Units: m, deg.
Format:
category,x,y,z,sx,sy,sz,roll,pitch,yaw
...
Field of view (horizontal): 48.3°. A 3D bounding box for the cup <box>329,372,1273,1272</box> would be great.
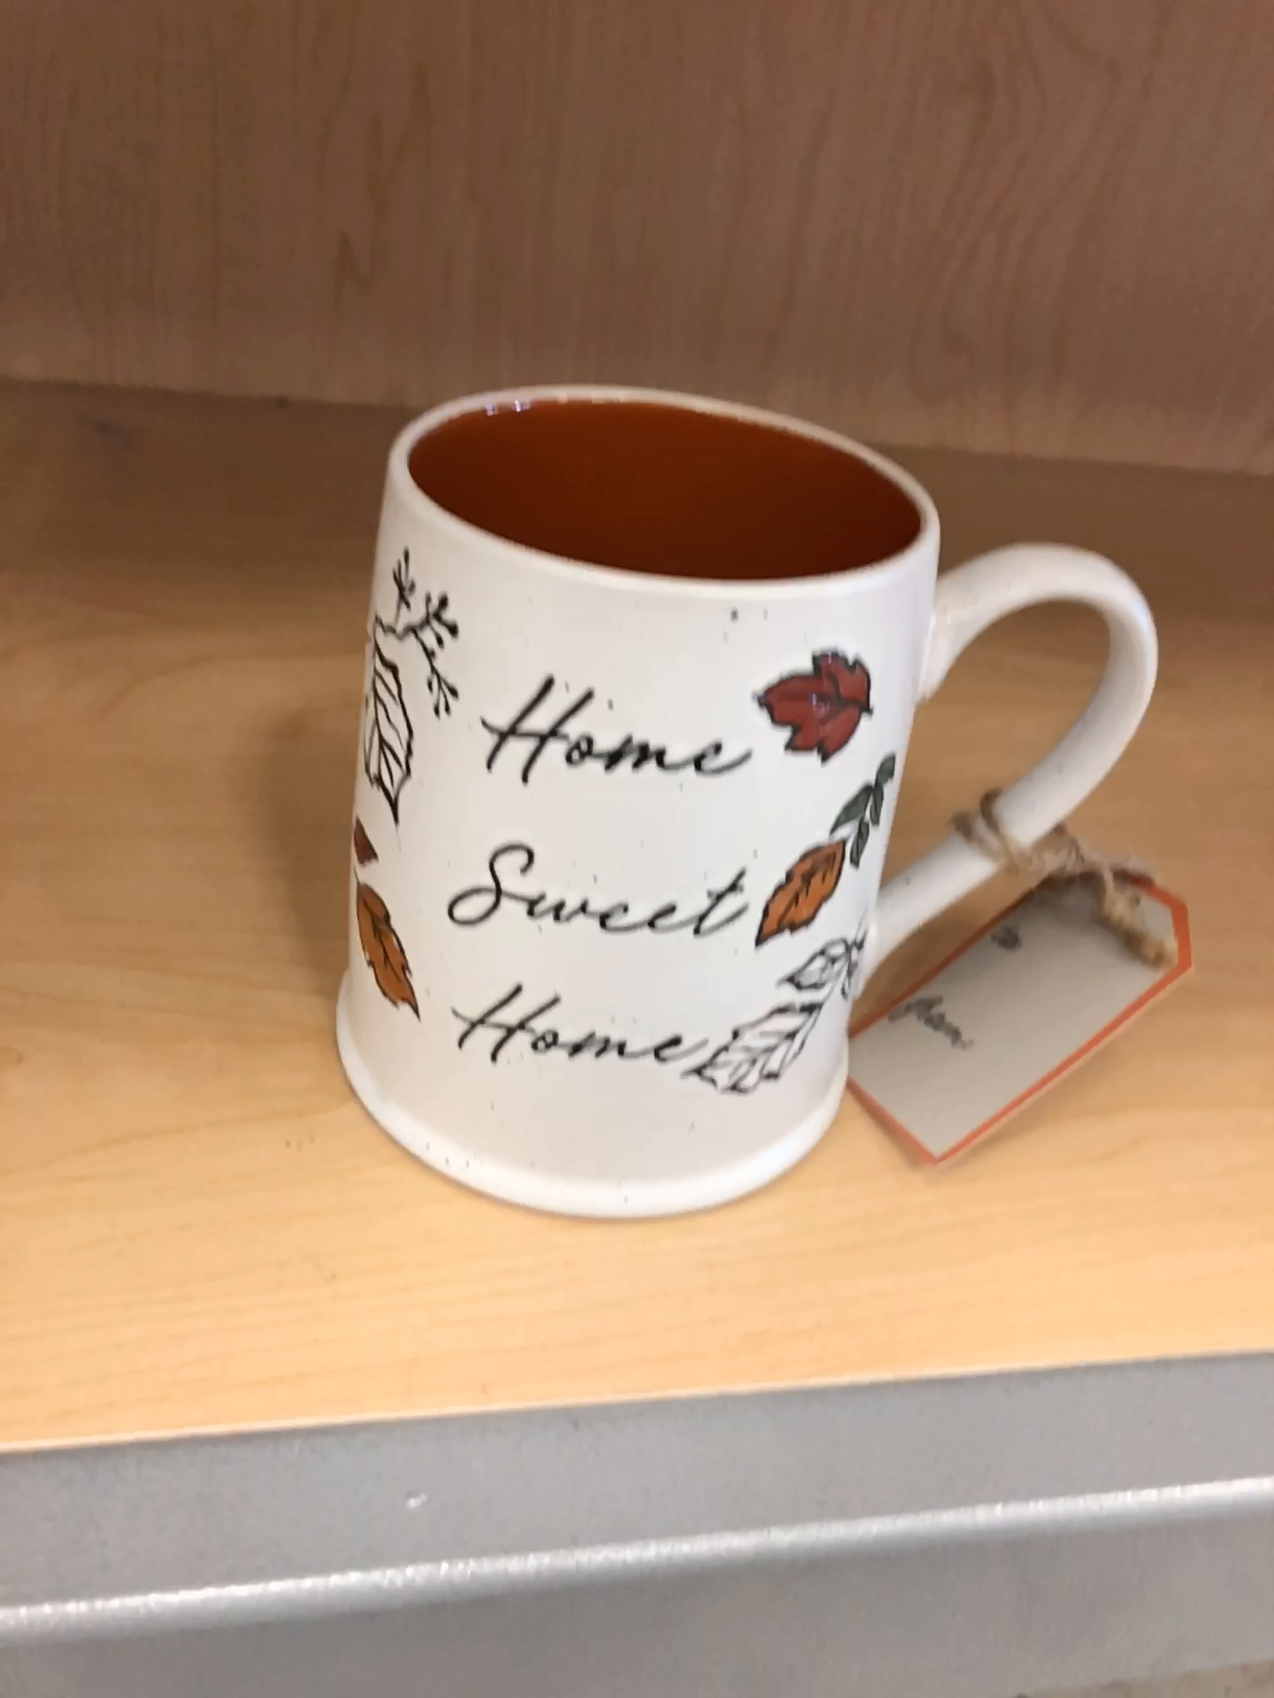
category,x,y,z,sx,sy,sz,roll,pitch,yaw
cup,0.018,-0.006,0.216,0.125,0.099,0.081,-1,35,-13
